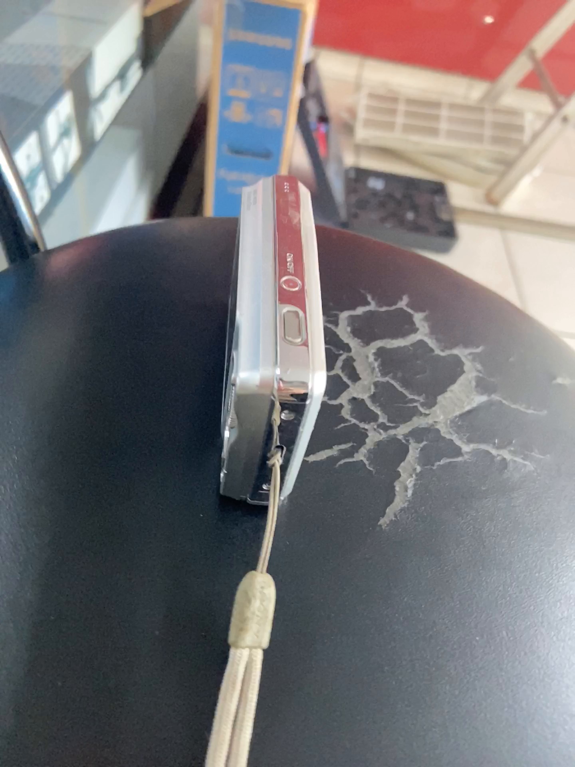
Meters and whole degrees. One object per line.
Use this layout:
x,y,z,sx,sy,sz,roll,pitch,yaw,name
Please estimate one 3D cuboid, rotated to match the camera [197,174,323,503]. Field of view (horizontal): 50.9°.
-0.009,-0.017,0.181,0.026,0.044,0.093,5,47,-7,camera
